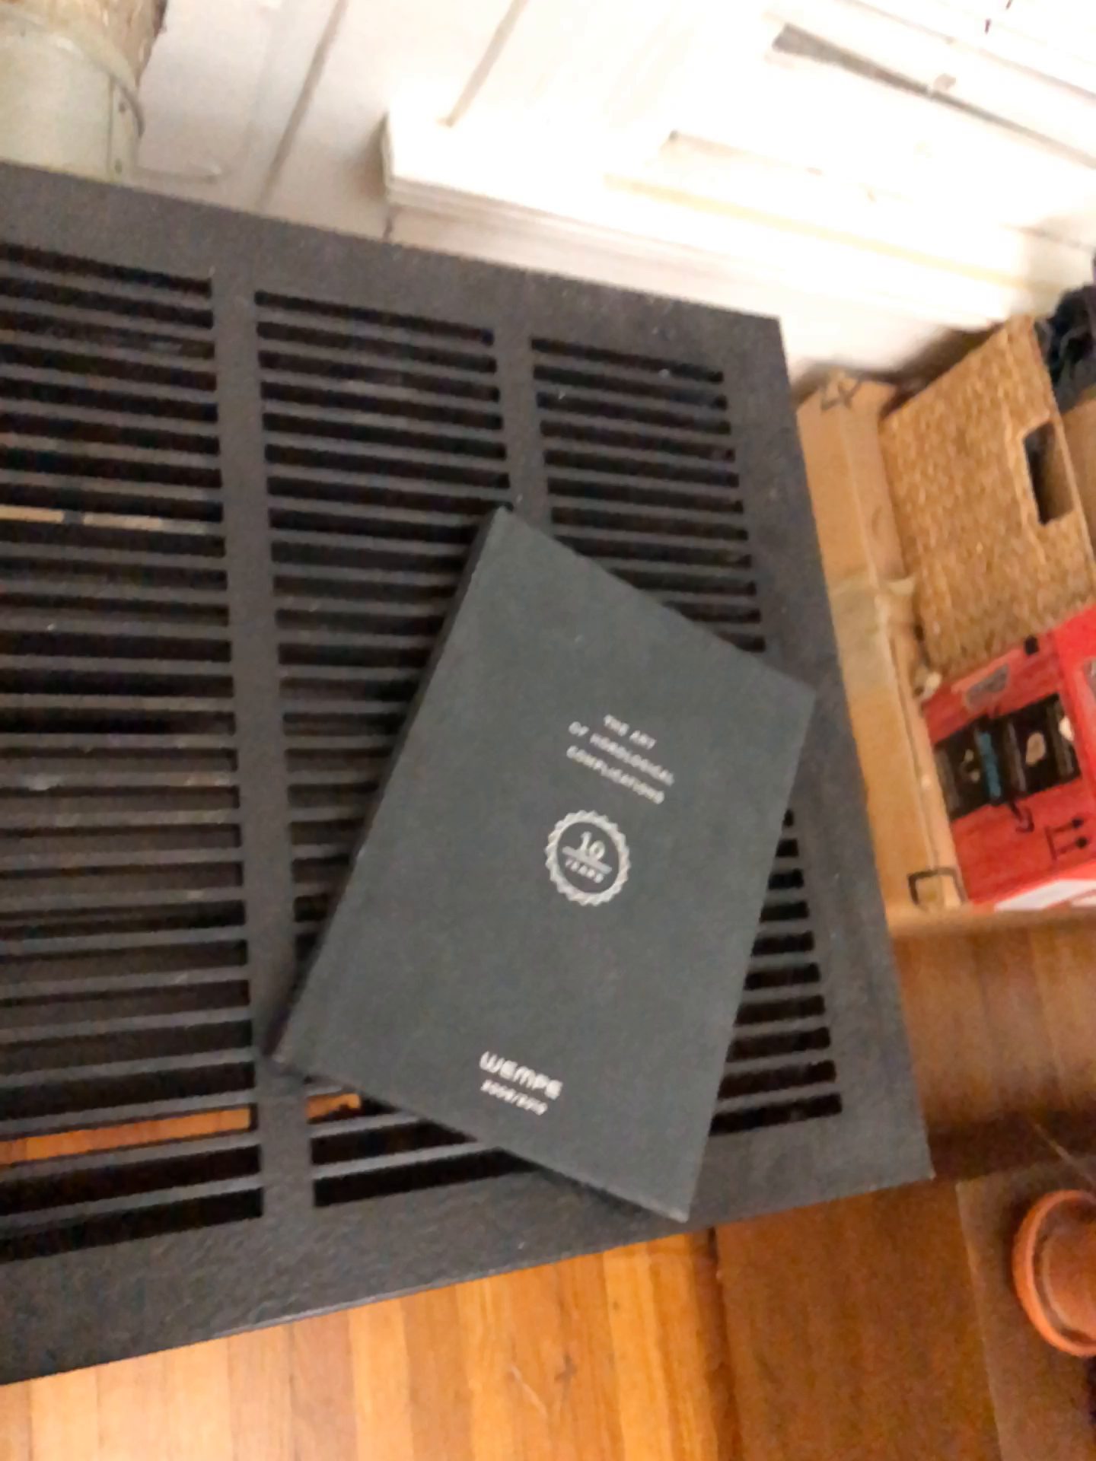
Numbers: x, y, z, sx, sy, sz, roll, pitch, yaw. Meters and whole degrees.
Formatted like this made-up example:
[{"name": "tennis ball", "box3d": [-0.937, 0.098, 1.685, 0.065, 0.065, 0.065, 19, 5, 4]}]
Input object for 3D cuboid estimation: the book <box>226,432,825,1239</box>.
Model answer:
[{"name": "book", "box3d": [0.009, 0.031, 0.445, 0.160, 0.020, 0.251, 27, 63, -18]}]
